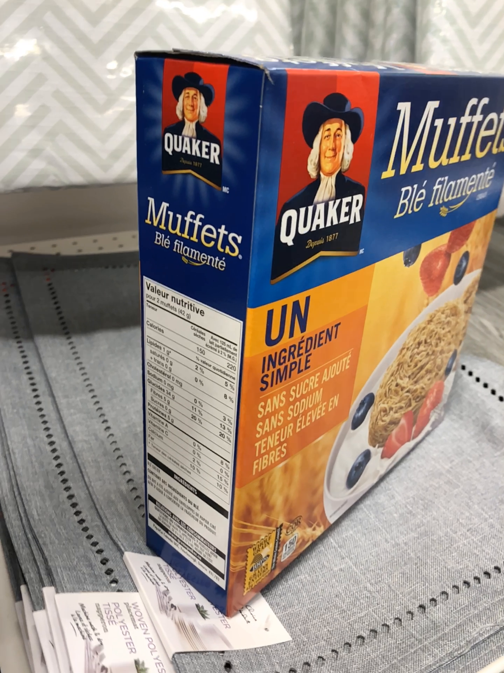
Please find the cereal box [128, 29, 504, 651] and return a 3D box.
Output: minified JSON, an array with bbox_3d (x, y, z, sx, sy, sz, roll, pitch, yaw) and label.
[{"bbox_3d":[0.061,-0.018,0.292,0.060,0.229,0.251,24,32,36],"label":"cereal box"}]
